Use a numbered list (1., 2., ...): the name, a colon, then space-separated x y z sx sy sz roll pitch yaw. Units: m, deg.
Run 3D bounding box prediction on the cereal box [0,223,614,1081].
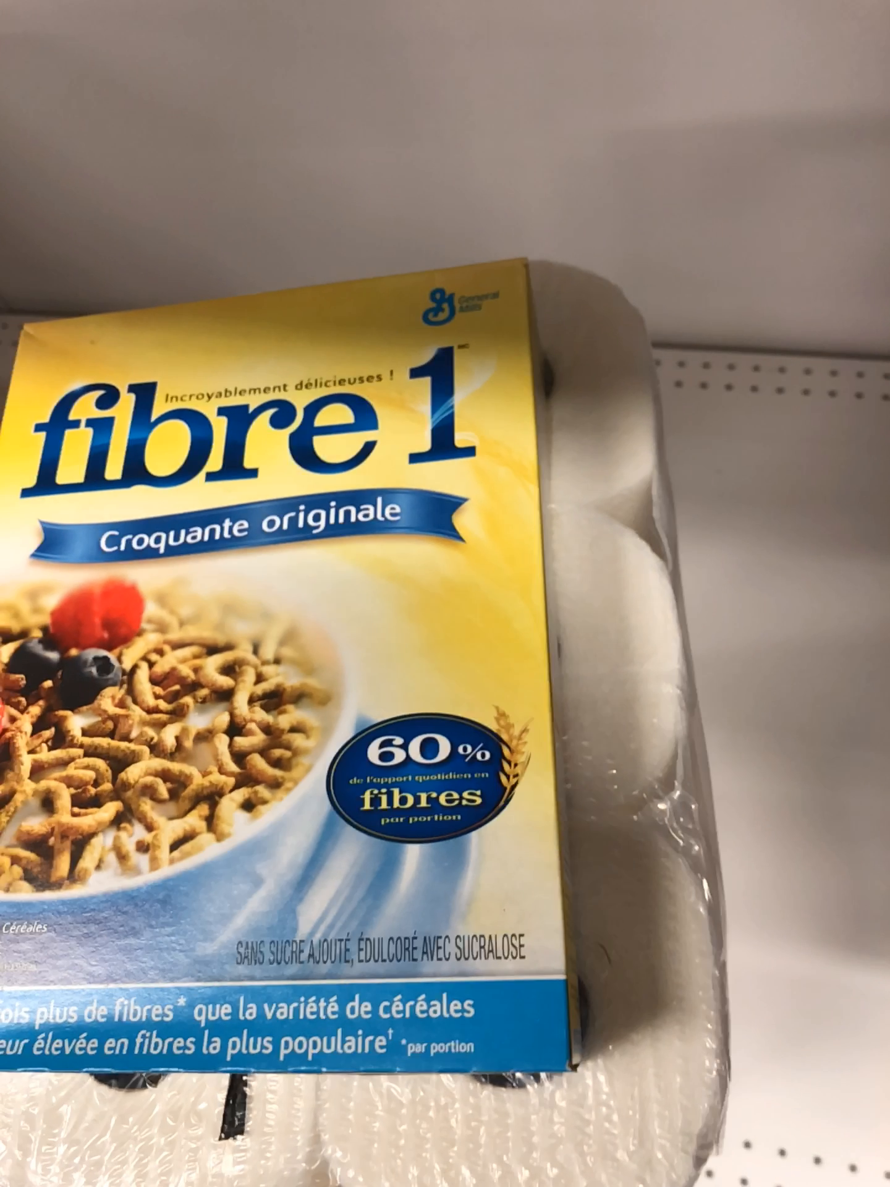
1. cereal box: -0.055 0.014 0.331 0.200 0.060 0.260 -4 67 10
